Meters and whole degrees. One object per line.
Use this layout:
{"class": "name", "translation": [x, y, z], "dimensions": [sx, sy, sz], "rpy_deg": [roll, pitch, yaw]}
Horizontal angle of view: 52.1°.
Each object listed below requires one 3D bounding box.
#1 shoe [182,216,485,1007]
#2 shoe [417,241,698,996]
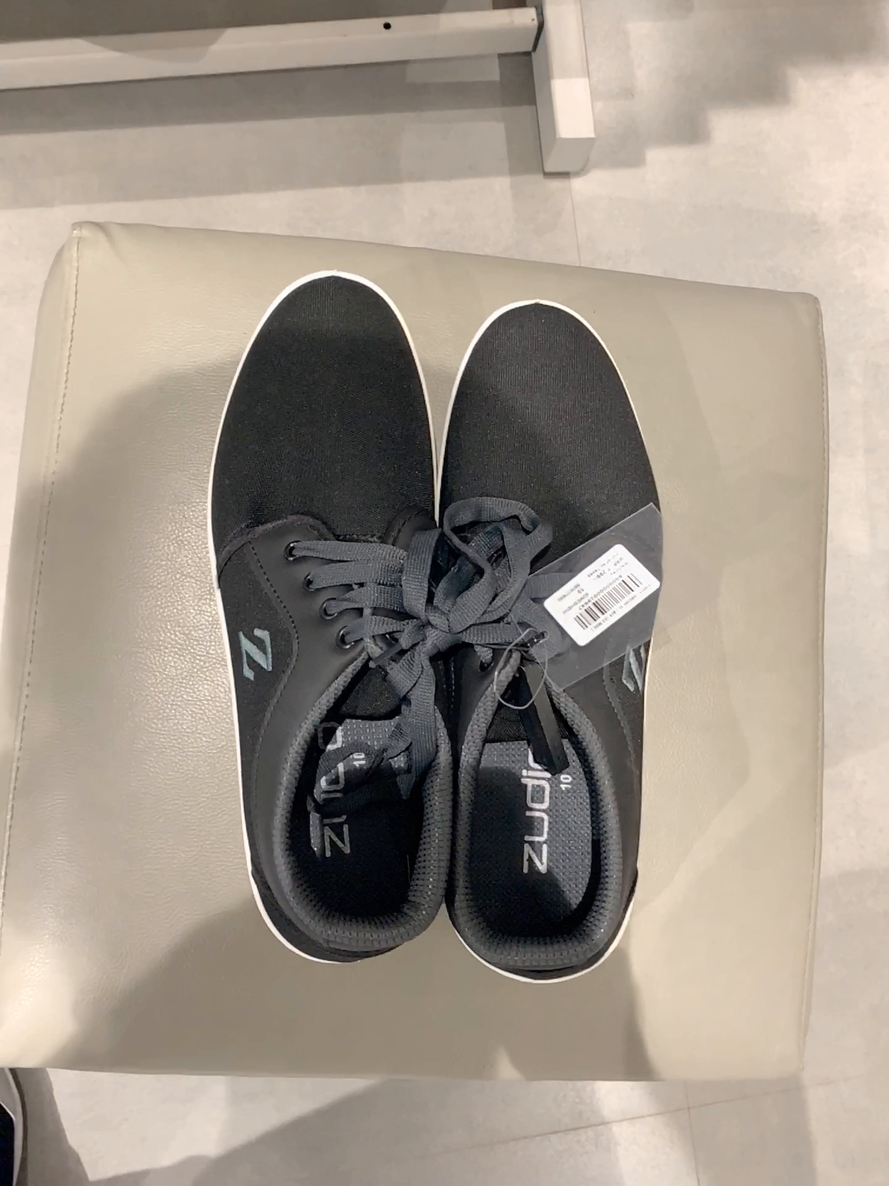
{"class": "shoe", "translation": [-0.045, 0.005, 0.365], "dimensions": [0.100, 0.100, 0.270], "rpy_deg": [-1, 85, -7]}
{"class": "shoe", "translation": [0.040, 0.009, 0.387], "dimensions": [0.100, 0.100, 0.280], "rpy_deg": [0, 84, 0]}
